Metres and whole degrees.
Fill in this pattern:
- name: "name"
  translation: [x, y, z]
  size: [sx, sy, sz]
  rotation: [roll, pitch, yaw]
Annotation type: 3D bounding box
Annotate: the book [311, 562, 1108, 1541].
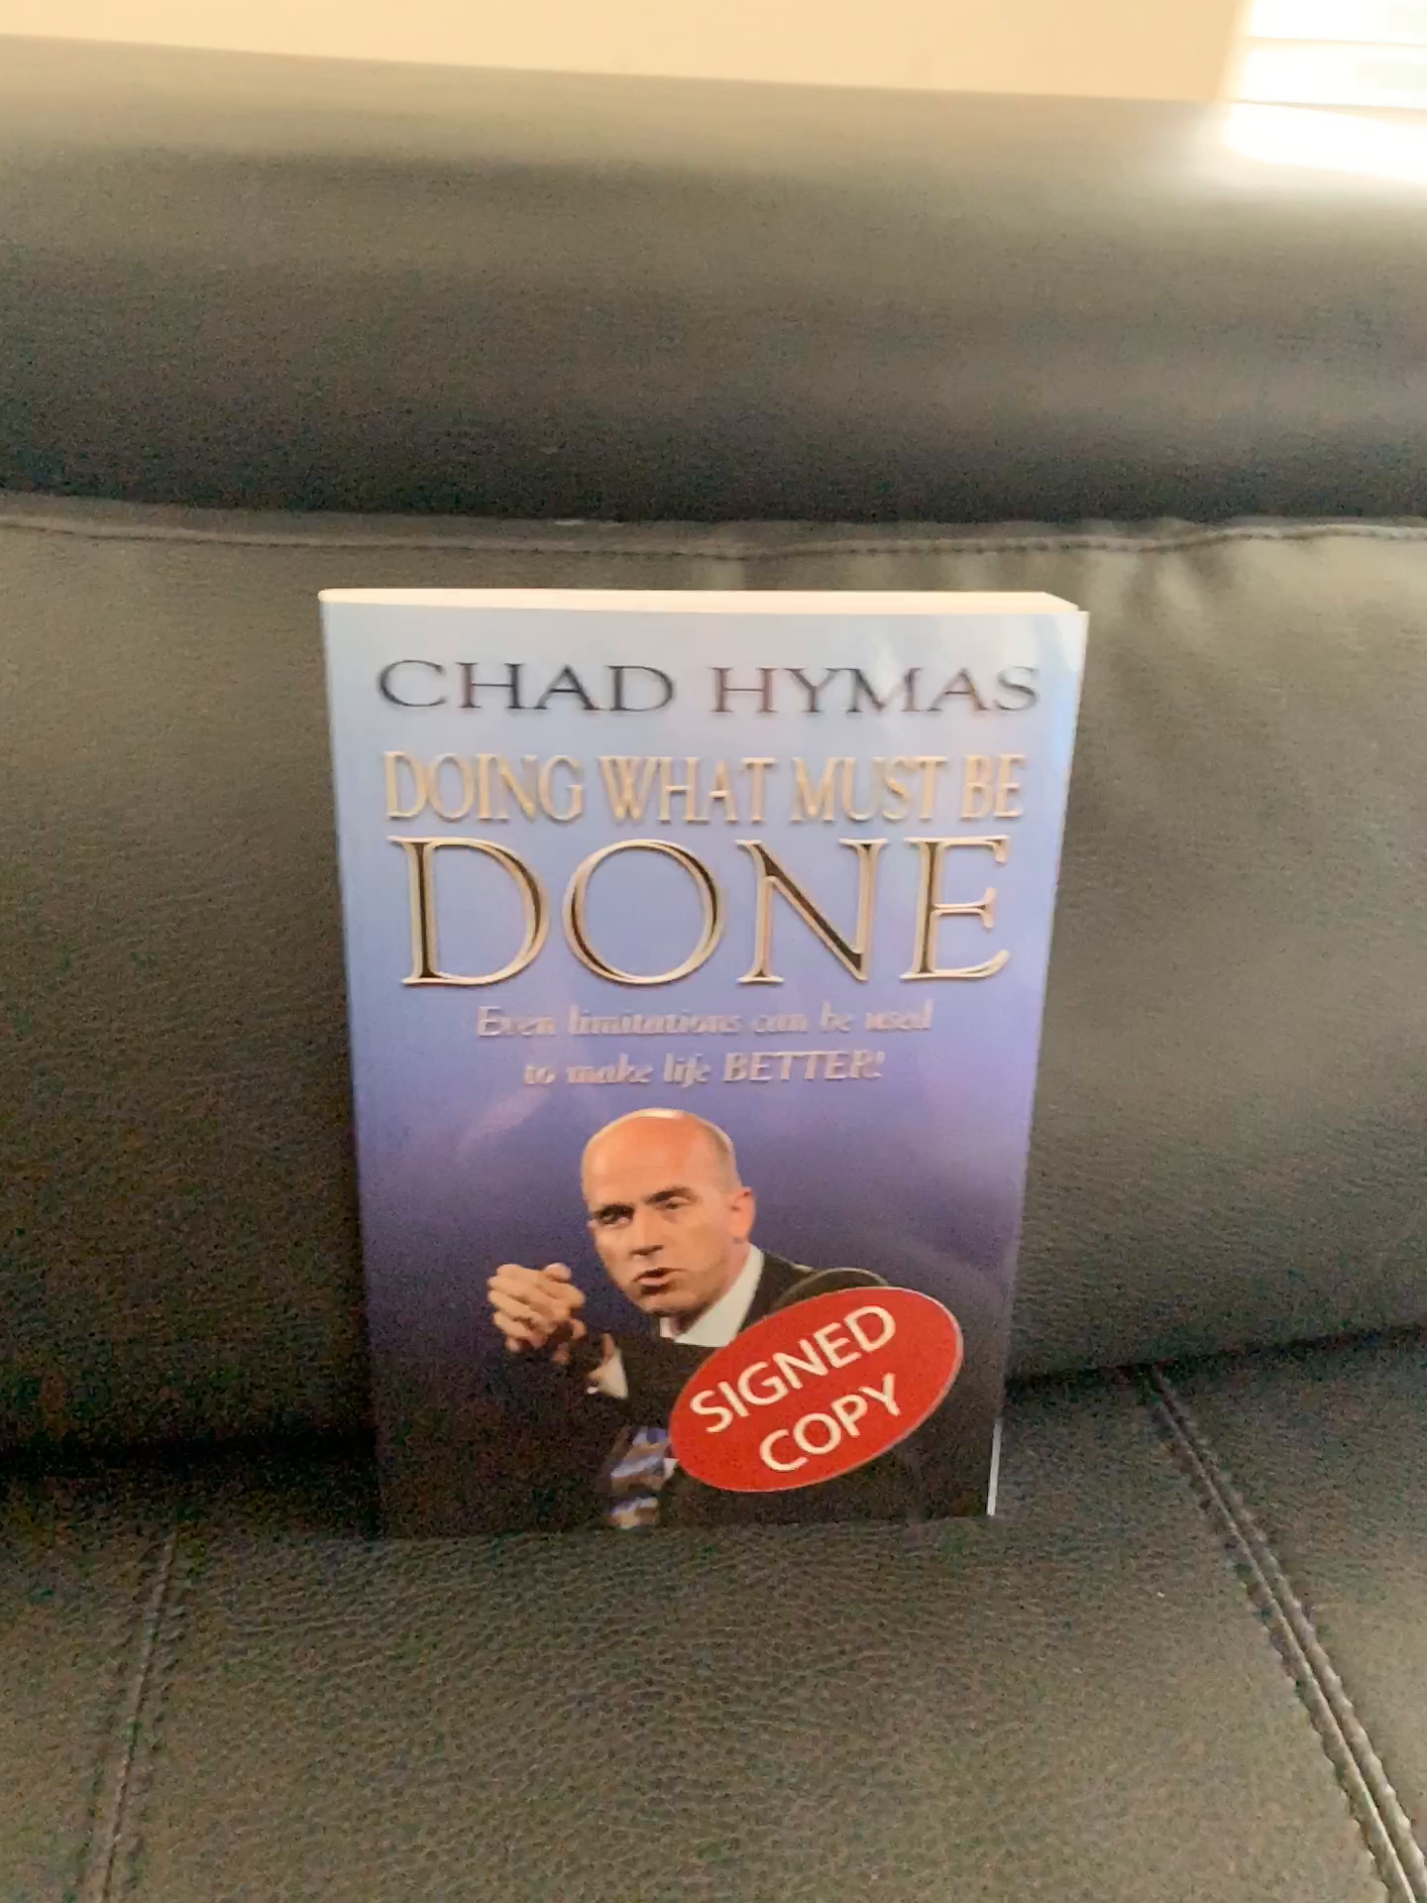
- name: "book"
  translation: [-0.004, 0.031, 0.336]
  size: [0.156, 0.225, 0.025]
  rotation: [1, 18, -4]
